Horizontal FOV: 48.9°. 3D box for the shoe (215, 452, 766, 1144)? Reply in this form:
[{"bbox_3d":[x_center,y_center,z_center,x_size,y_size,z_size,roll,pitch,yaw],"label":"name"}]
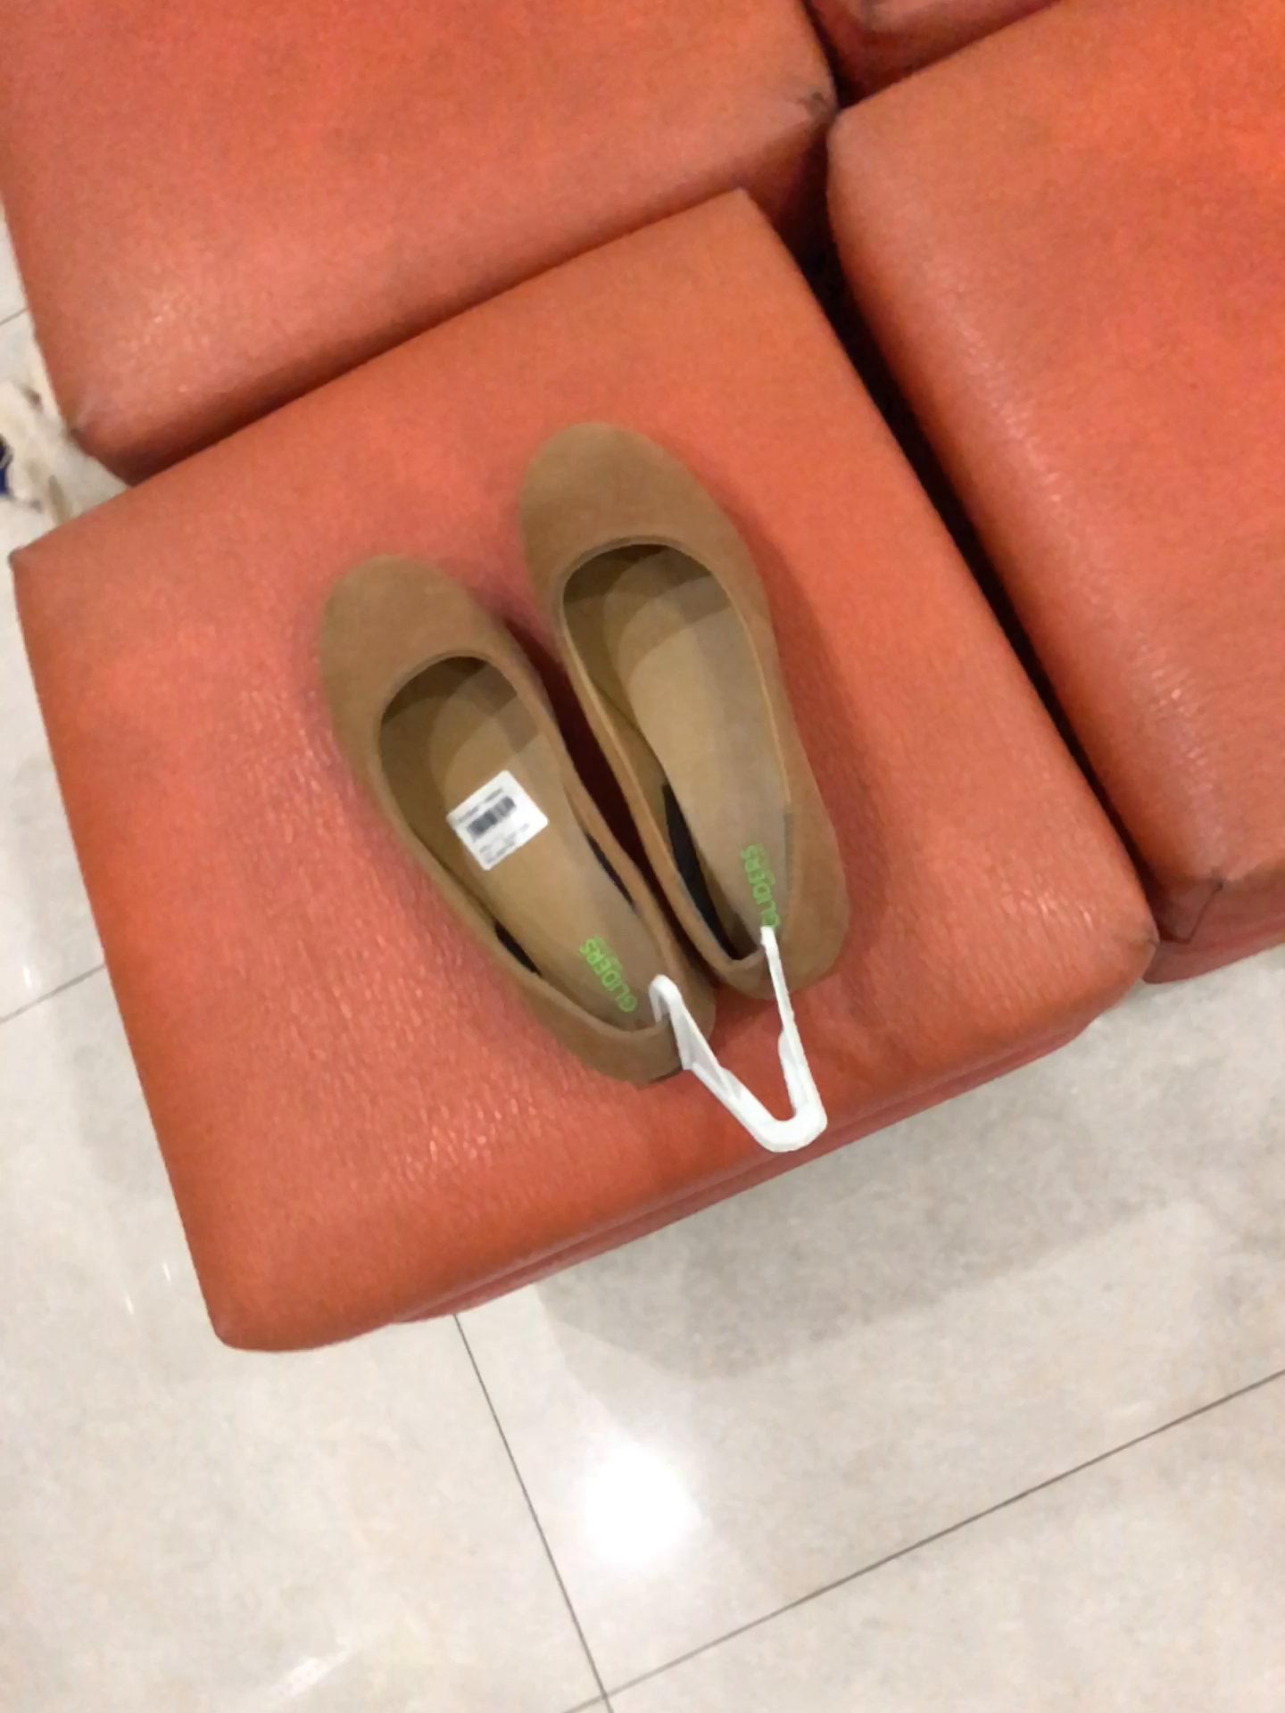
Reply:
[{"bbox_3d":[-0.068,-0.027,0.606,0.094,0.071,0.287,-34,71,4],"label":"shoe"}]

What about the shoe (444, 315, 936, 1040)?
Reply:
[{"bbox_3d":[0.018,-0.077,0.599,0.097,0.071,0.287,-24,72,5],"label":"shoe"}]
